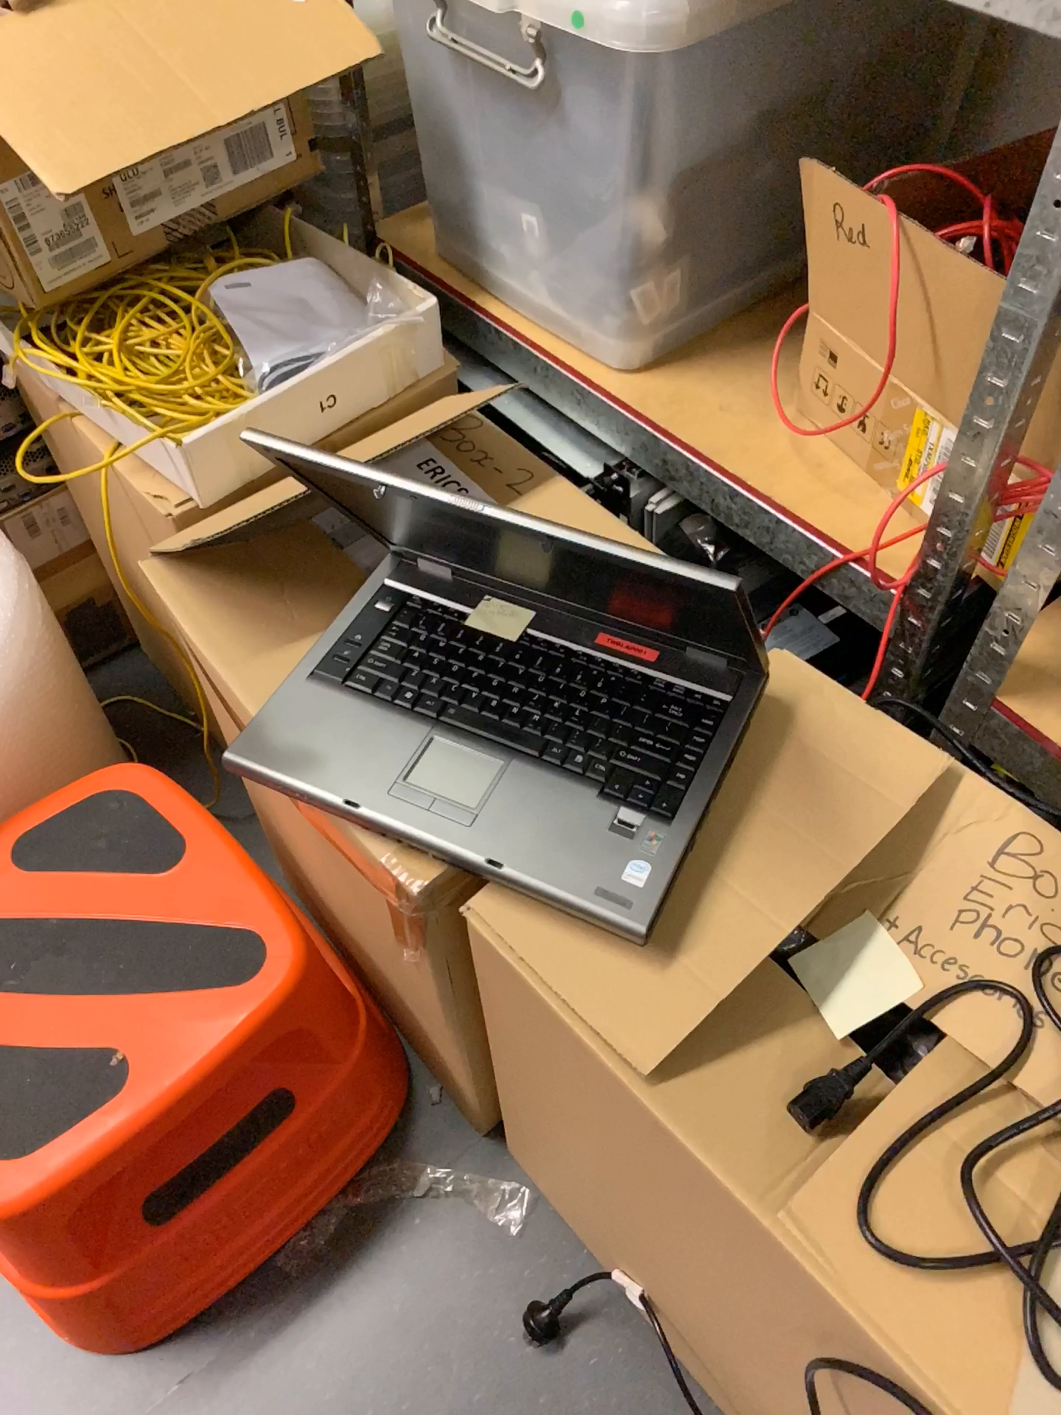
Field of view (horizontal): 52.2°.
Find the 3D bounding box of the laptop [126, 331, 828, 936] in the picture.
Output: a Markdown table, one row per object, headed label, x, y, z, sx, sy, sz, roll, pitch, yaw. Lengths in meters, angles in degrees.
| label | x | y | z | sx | sy | sz | roll | pitch | yaw |
| --- | --- | --- | --- | --- | --- | --- | --- | --- | --- |
| laptop | -0.025 | -0.064 | 0.770 | 0.361 | 0.238 | 0.263 | 20 | 53 | 18 |
